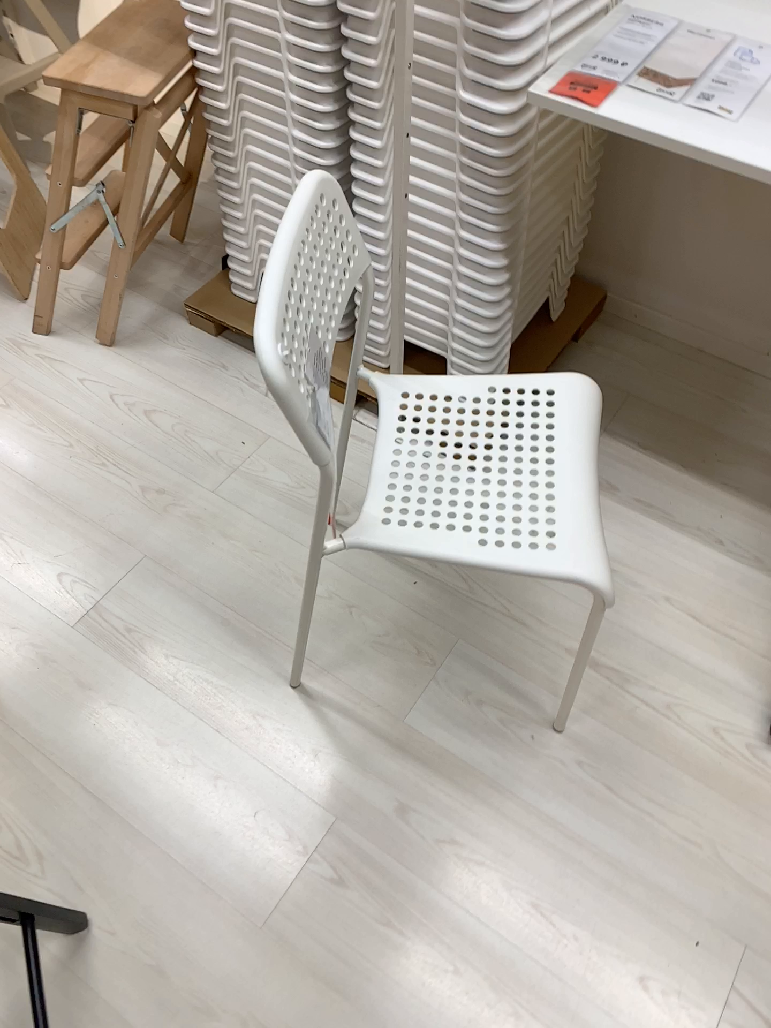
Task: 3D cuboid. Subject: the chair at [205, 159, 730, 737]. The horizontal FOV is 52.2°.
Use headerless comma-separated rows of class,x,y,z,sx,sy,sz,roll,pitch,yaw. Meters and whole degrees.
chair,0.094,-0.042,1.174,0.500,0.747,0.425,6,53,4
